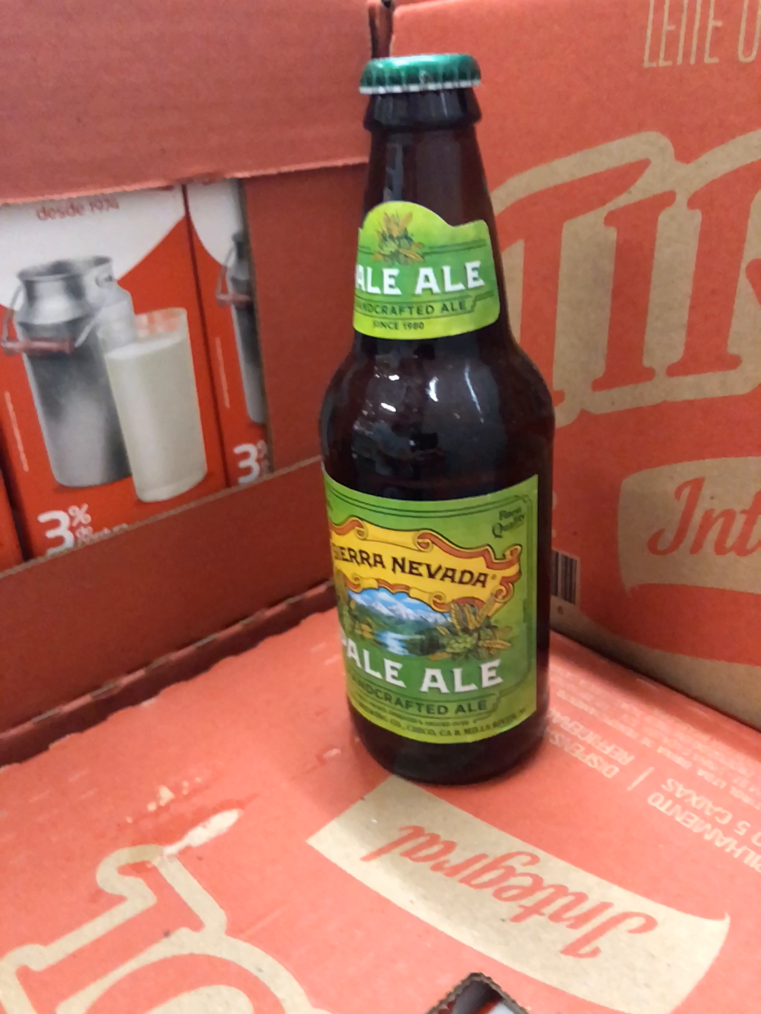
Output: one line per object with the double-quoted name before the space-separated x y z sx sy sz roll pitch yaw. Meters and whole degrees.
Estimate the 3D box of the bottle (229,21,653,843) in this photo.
"bottle" 0.017 -0.016 0.224 0.070 0.189 0.060 15 30 31
